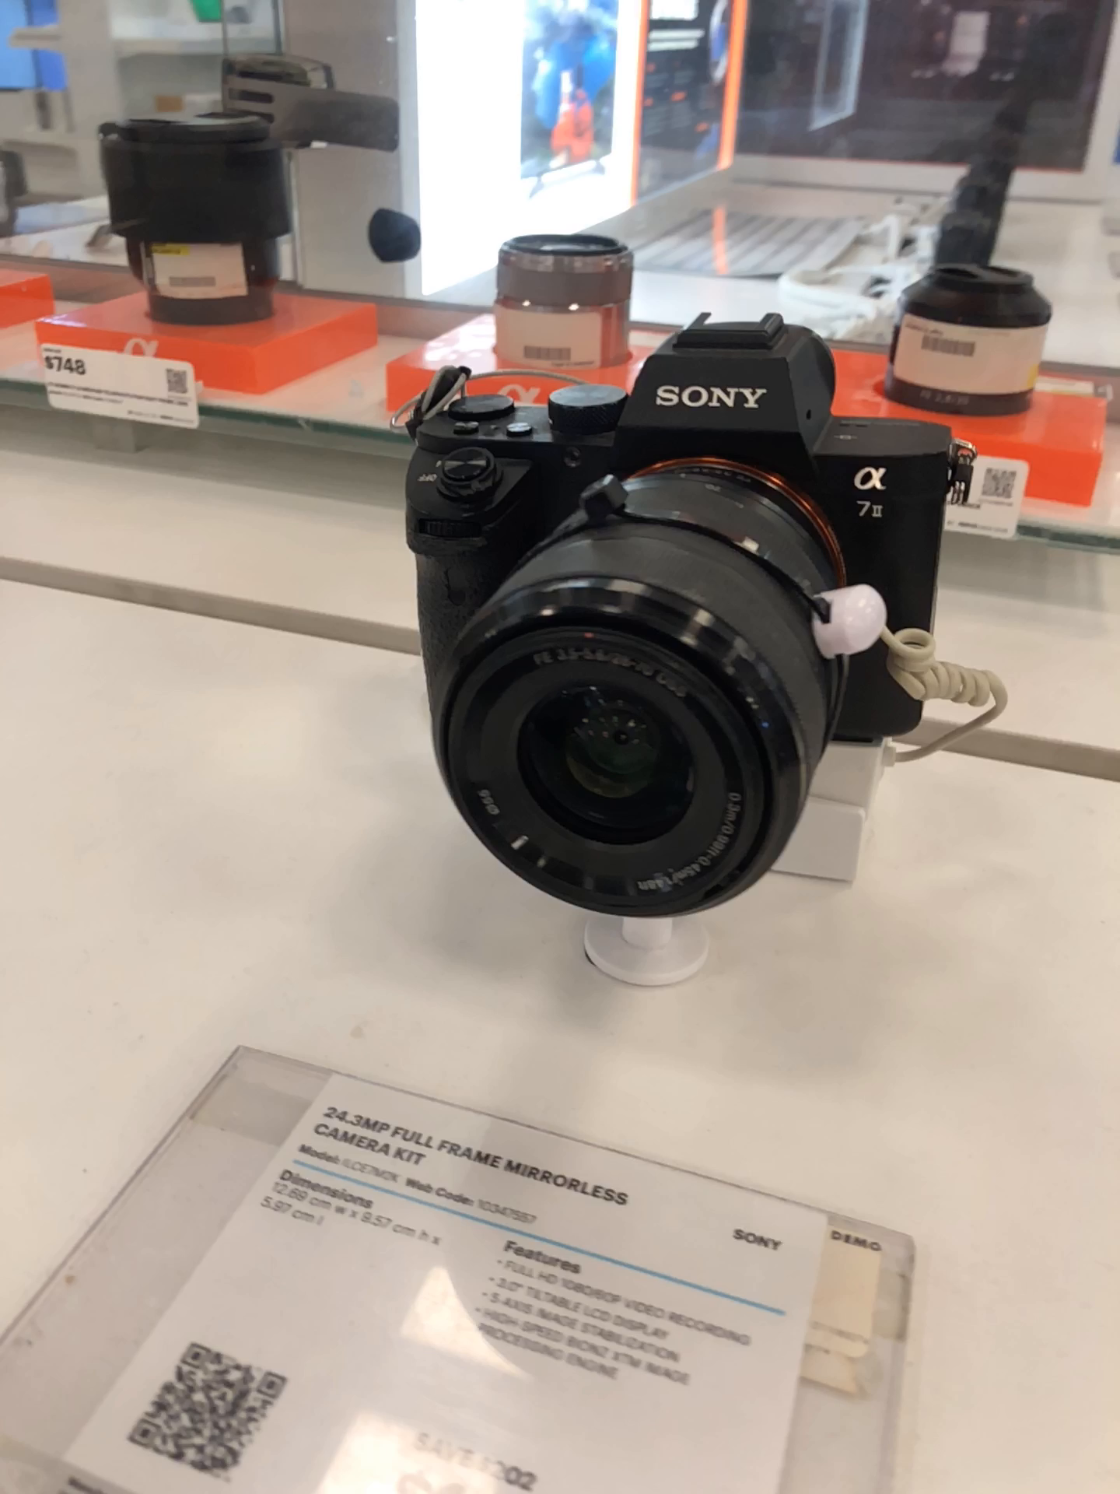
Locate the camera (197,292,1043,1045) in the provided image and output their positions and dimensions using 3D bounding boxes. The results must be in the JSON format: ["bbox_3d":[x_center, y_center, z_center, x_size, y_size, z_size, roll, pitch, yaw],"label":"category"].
[{"bbox_3d":[0.024,-0.035,0.288,0.140,0.100,0.151,10,31,14],"label":"camera"}]
